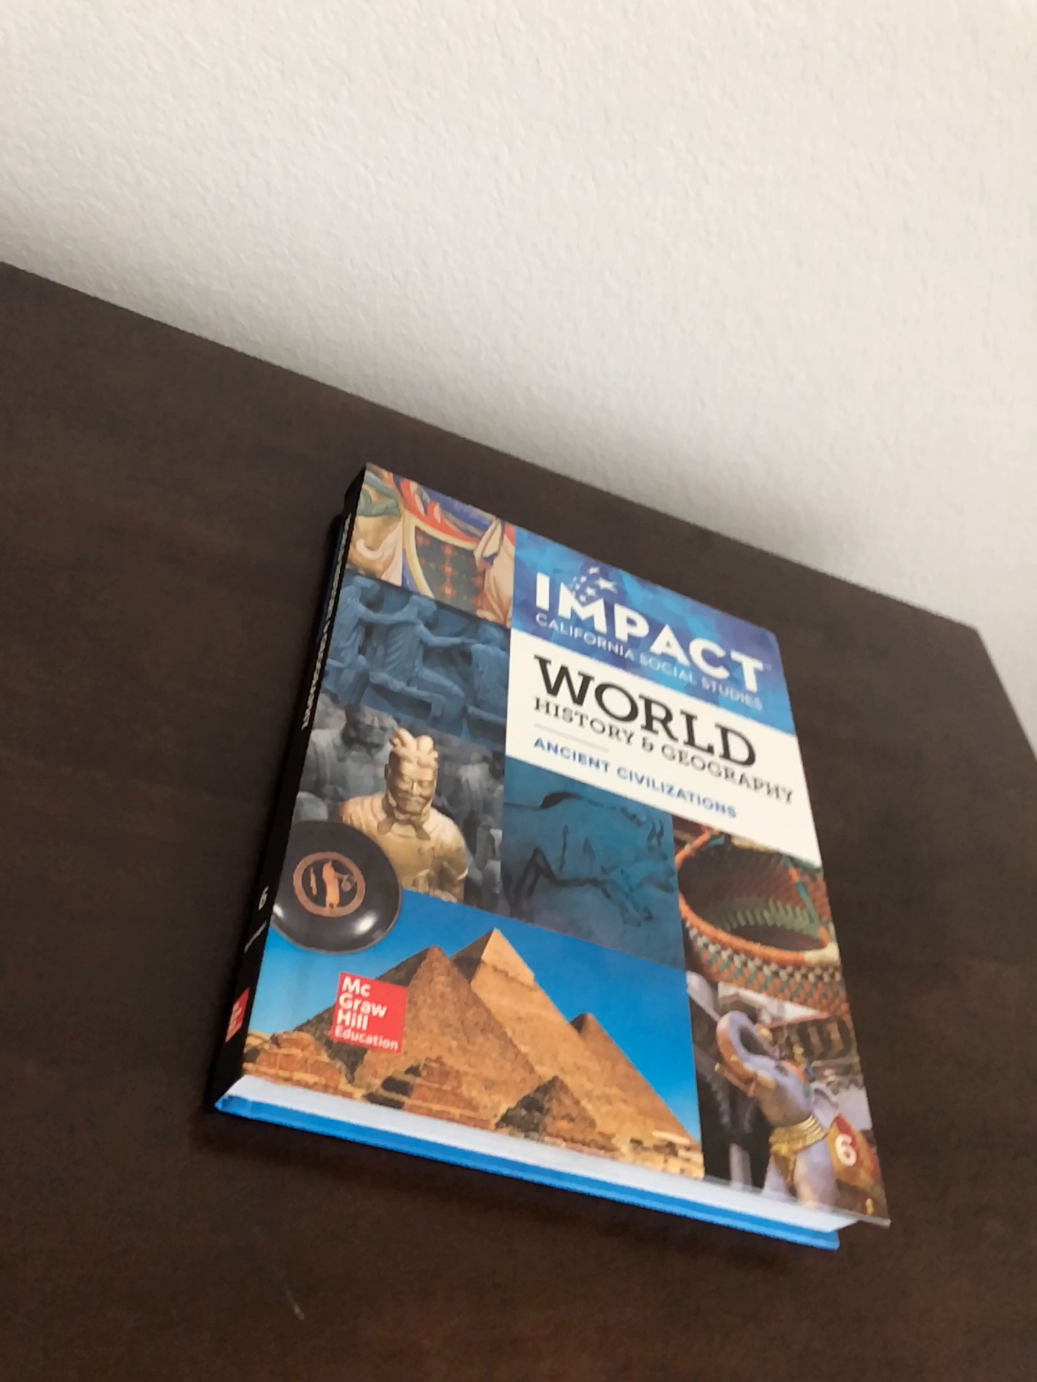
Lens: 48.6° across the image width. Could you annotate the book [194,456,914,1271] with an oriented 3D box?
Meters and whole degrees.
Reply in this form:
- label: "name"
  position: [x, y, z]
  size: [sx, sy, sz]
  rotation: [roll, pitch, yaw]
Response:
- label: "book"
  position: [0.023, 0.047, 0.442]
  size: [0.228, 0.030, 0.286]
  rotation: [21, 42, -18]
